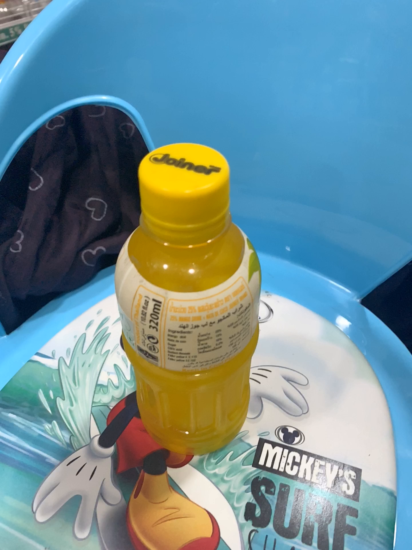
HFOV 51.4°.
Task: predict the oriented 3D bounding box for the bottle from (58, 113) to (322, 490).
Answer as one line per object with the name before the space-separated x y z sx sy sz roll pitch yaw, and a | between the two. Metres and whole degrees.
bottle | -0.008 0.018 0.179 0.060 0.139 0.060 1 41 0
